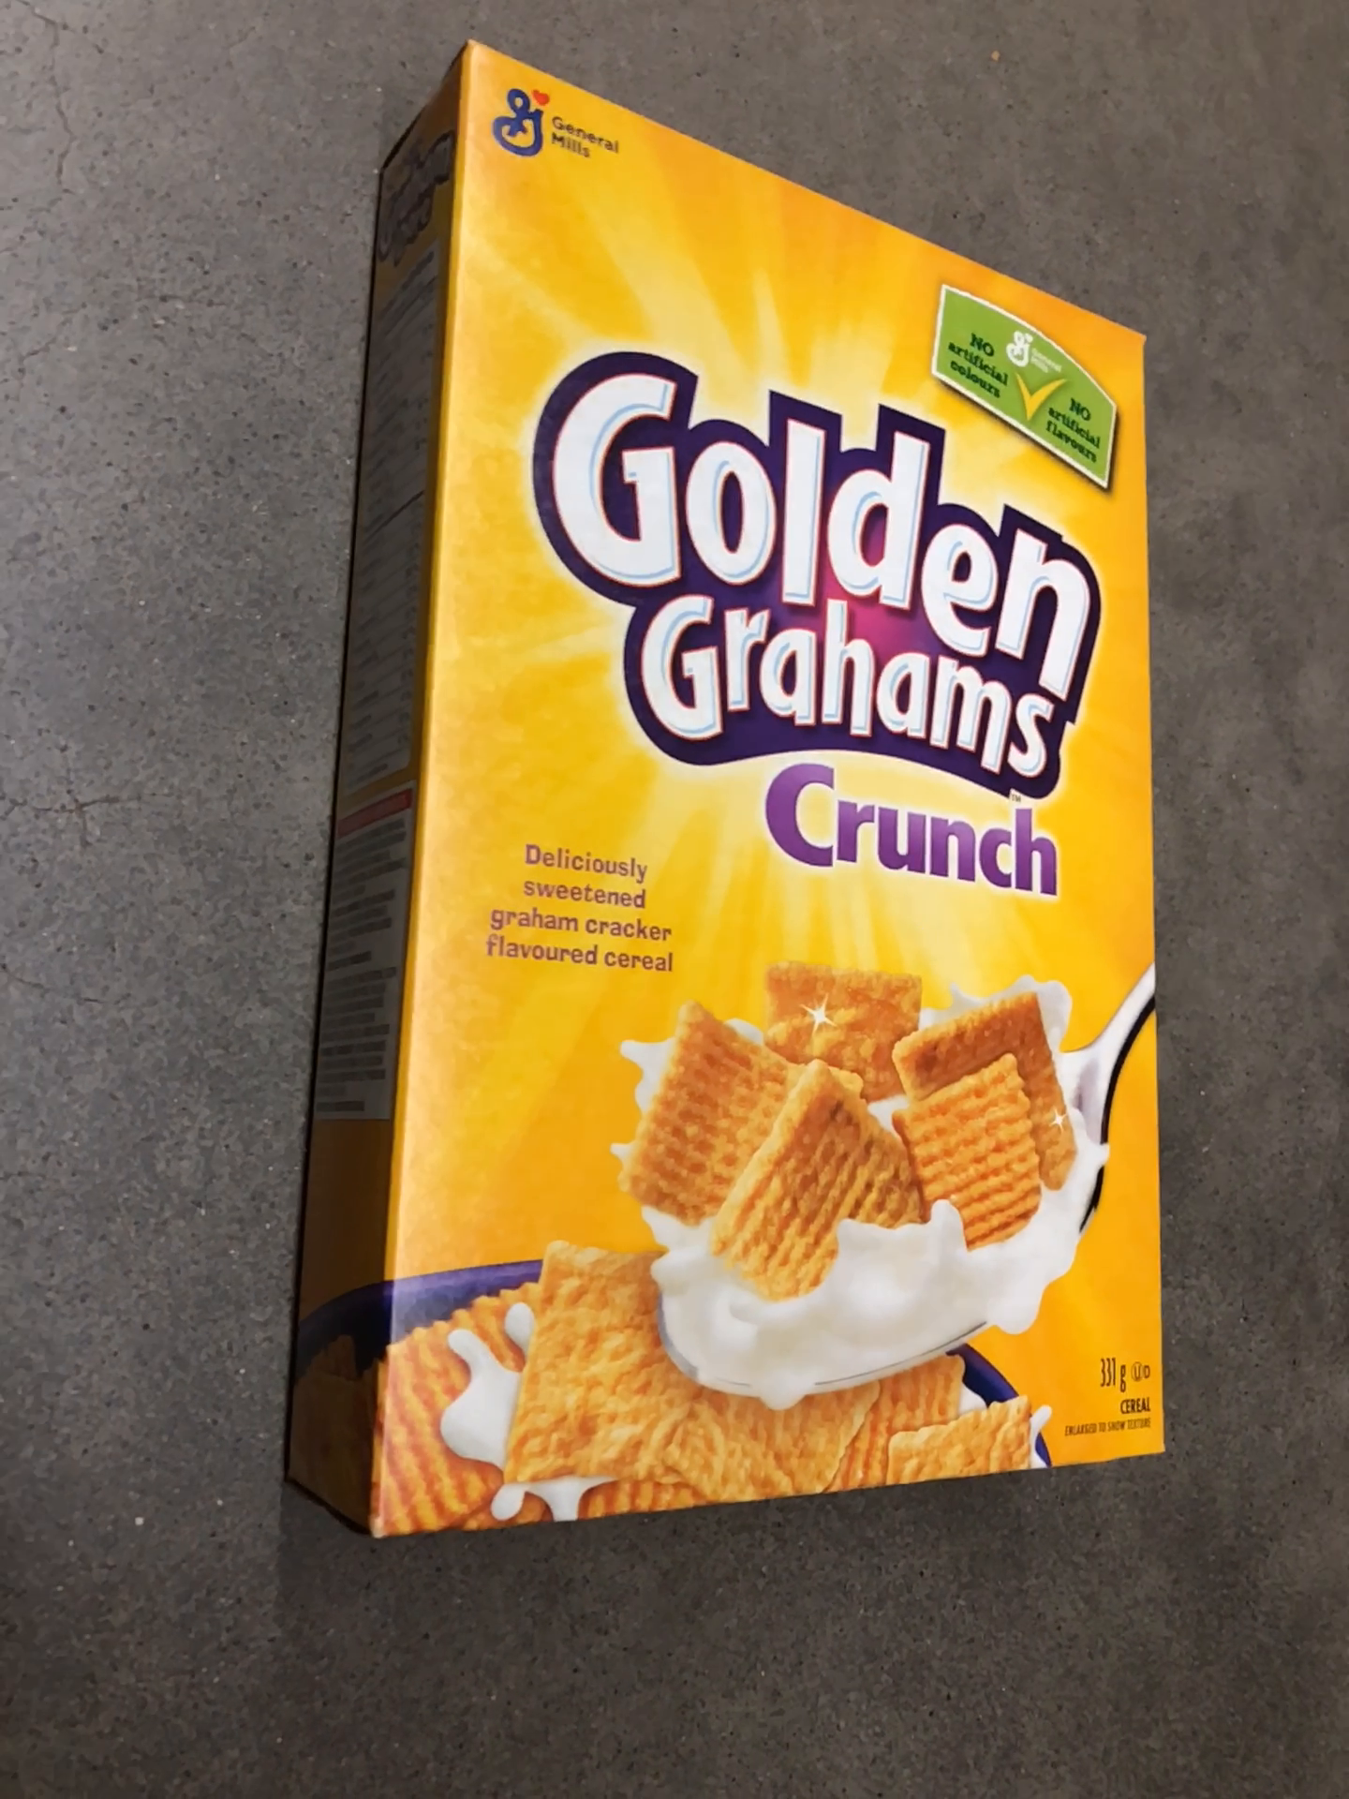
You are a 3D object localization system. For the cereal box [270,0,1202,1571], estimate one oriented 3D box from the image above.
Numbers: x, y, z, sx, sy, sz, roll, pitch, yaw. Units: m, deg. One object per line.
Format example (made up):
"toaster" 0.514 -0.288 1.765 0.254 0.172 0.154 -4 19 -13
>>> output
"cereal box" 0.026 -0.020 0.353 0.200 0.070 0.300 7 80 -29
